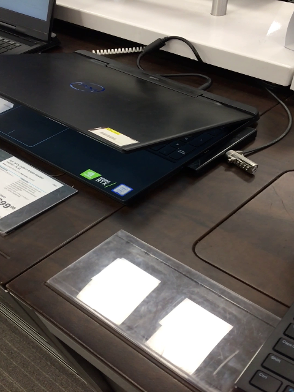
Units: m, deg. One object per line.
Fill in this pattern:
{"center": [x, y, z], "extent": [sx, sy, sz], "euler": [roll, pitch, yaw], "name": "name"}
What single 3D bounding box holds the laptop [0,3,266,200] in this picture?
{"center": [-0.090, -0.162, 0.576], "extent": [0.381, 0.092, 0.249], "euler": [29, 56, 22], "name": "laptop"}
